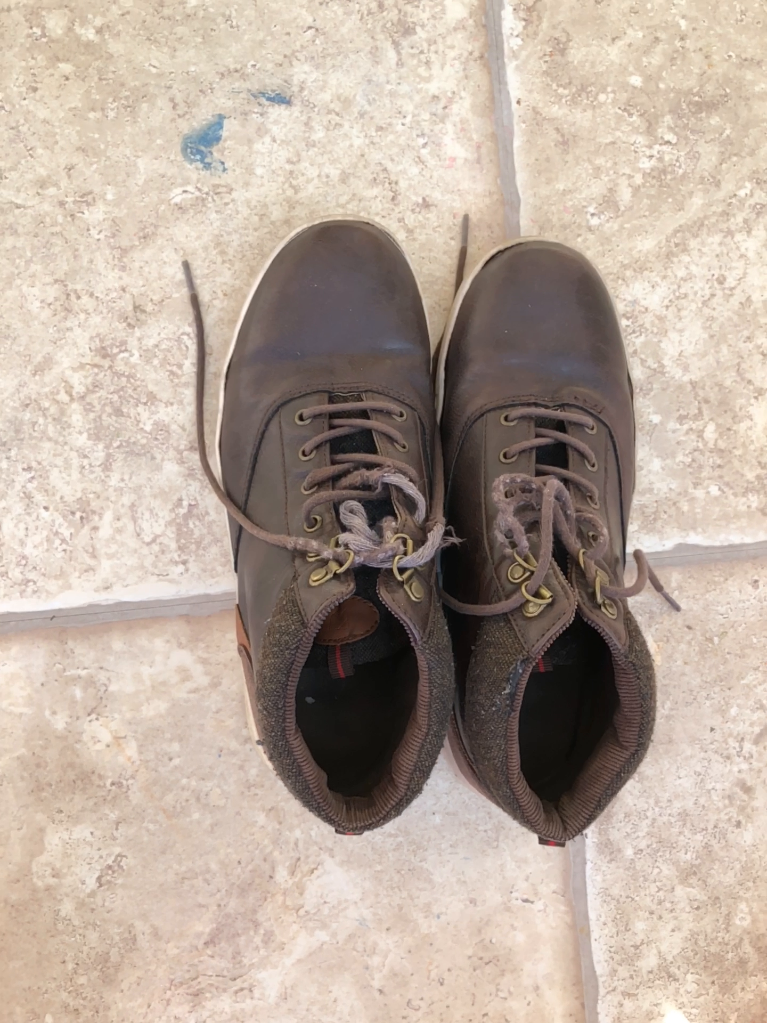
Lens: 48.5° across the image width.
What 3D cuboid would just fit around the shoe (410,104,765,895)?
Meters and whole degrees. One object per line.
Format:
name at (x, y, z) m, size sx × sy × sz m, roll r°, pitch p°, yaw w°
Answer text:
shoe at (0.083, -0.003, 0.403) m, size 0.110 × 0.150 × 0.300 m, roll 3°, pitch 87°, yaw -5°

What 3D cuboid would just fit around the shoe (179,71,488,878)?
shoe at (-0.024, -0.013, 0.395) m, size 0.110 × 0.150 × 0.300 m, roll 1°, pitch 88°, yaw -5°
